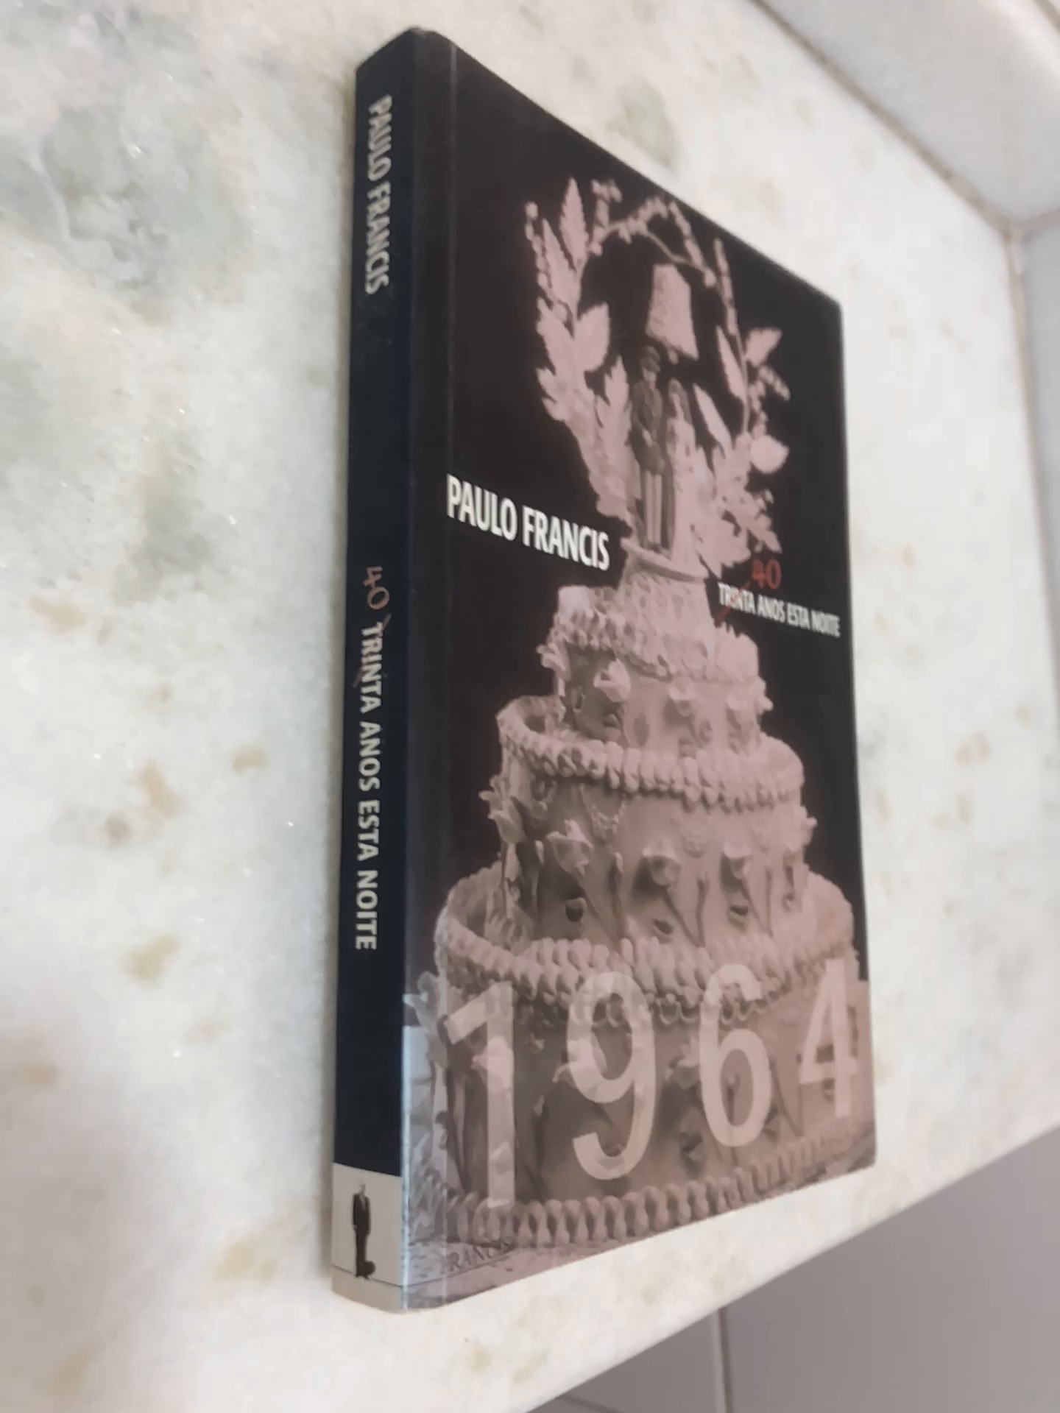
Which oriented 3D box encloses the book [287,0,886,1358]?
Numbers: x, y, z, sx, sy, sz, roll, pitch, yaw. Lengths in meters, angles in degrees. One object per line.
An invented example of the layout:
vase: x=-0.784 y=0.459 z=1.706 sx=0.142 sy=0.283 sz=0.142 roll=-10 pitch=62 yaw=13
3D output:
book: x=0.021 y=-0.005 z=0.231 sx=0.141 sy=0.020 sz=0.203 roll=9 pitch=78 yaw=-45
